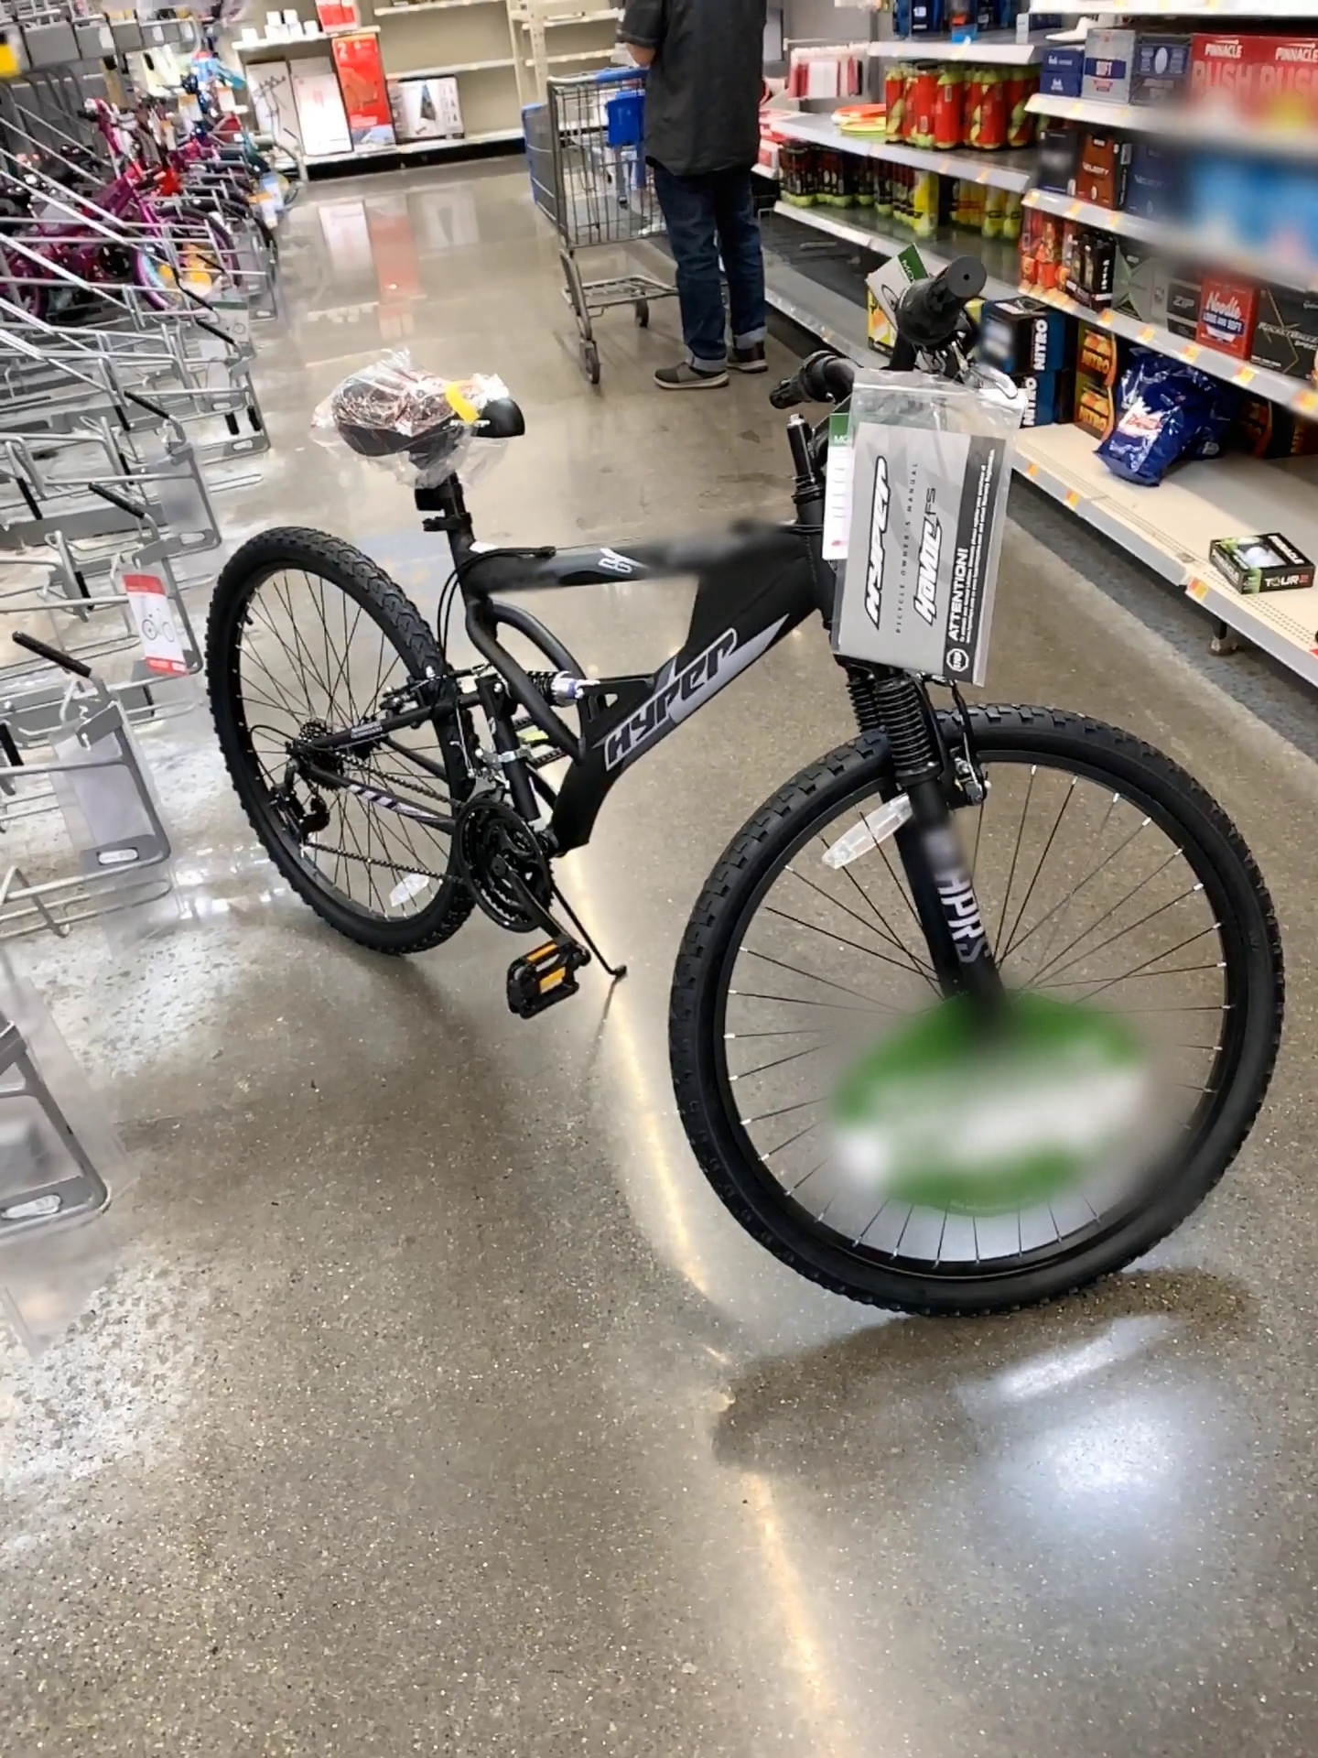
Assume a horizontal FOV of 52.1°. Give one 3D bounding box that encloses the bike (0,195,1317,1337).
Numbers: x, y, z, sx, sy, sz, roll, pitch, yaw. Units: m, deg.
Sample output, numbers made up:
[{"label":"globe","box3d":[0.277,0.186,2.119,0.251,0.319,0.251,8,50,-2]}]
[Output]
[{"label":"bike","box3d":[0.014,-0.293,1.923,1.680,1.089,0.693,16,39,28]}]
